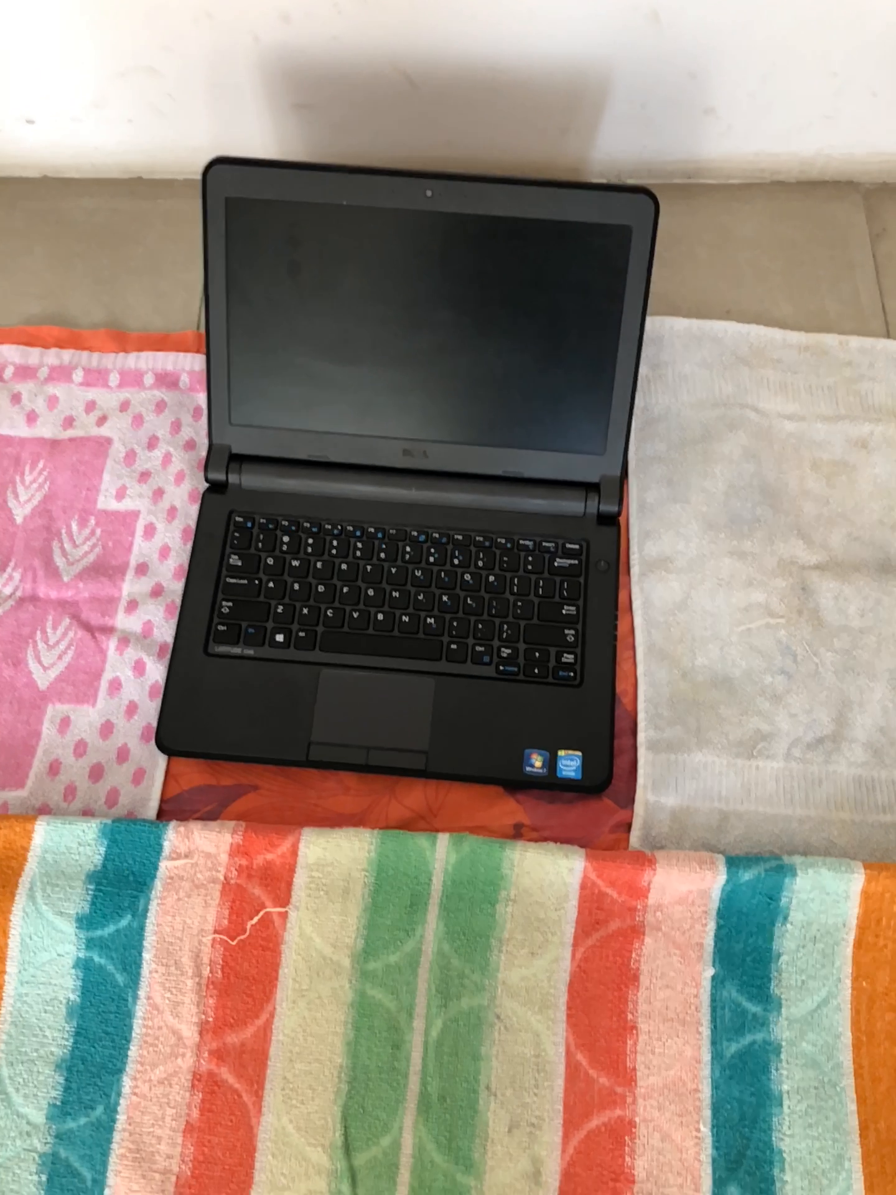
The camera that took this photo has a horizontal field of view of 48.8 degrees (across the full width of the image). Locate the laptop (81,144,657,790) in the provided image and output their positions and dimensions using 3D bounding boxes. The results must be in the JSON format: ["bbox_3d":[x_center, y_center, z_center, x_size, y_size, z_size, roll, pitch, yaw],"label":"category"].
[{"bbox_3d":[-0.030,-0.091,0.681,0.313,0.143,0.392,5,70,2],"label":"laptop"}]
